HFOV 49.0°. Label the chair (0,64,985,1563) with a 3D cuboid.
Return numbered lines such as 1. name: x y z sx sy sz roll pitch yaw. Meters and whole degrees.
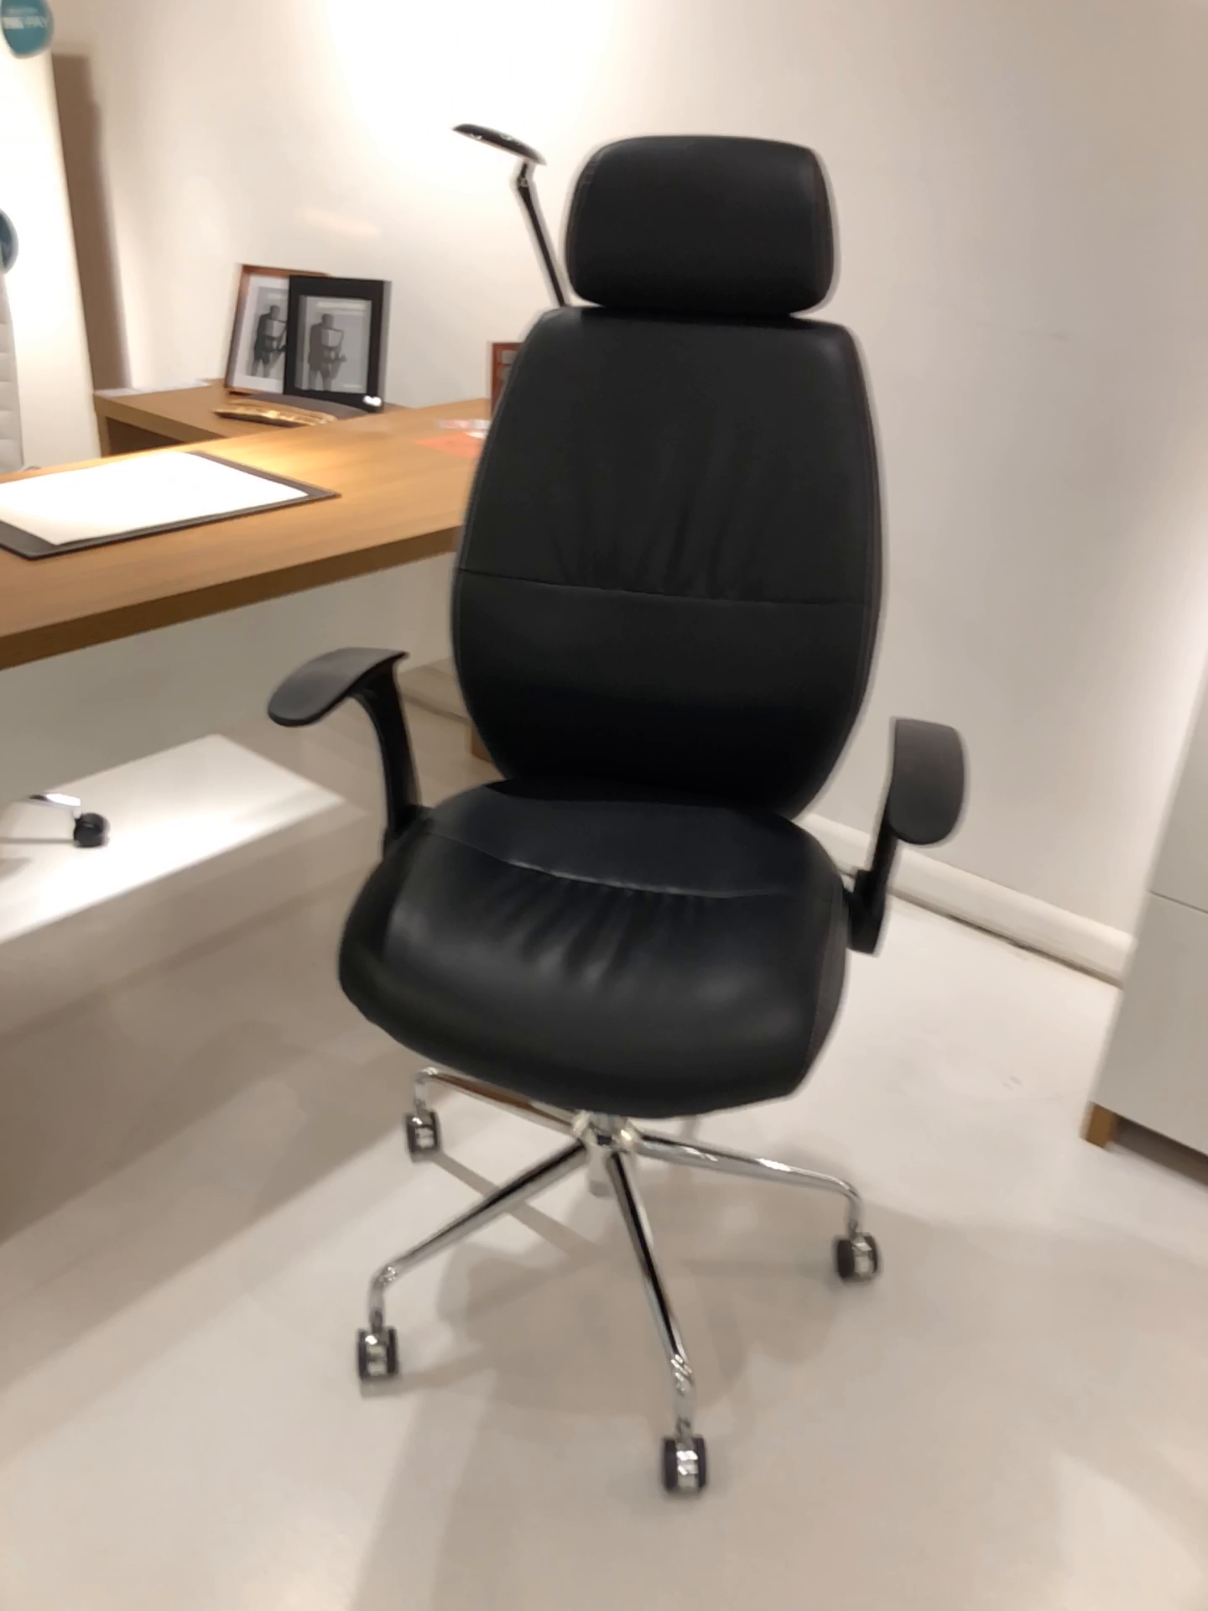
1. chair: -0.070 -0.020 1.398 0.690 1.300 0.716 9 30 11
